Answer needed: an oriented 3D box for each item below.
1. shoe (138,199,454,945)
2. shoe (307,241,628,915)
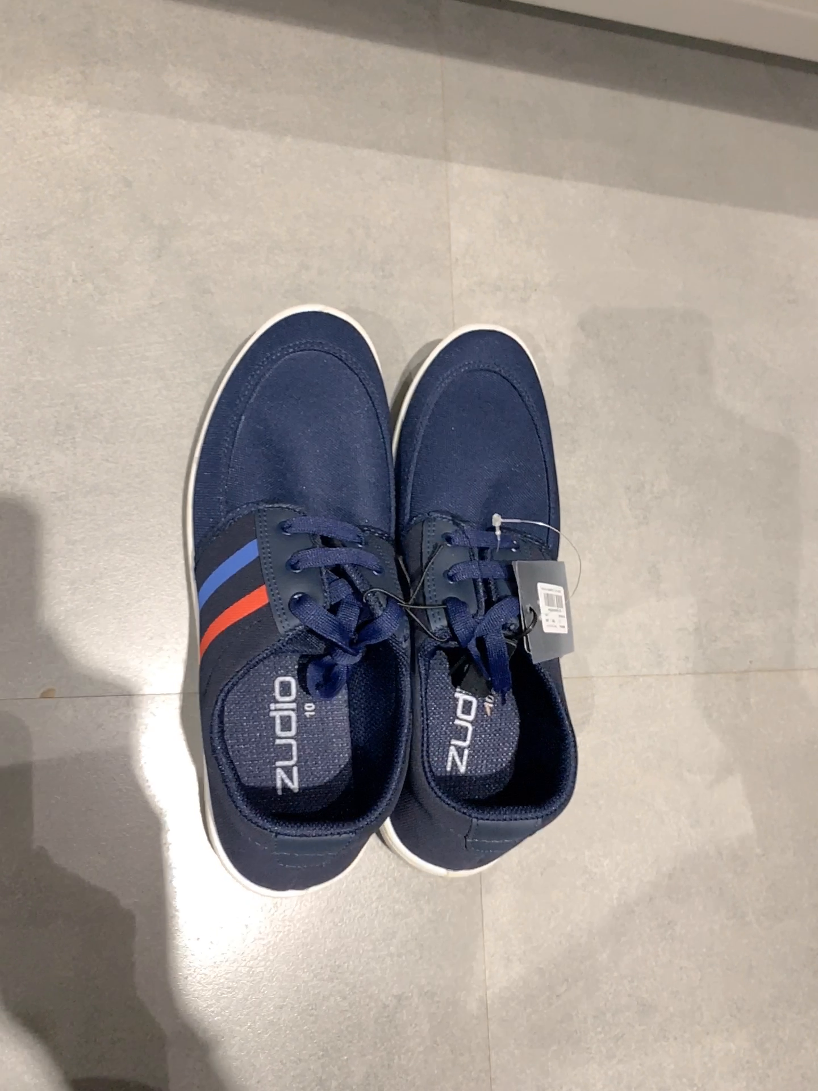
[{"bbox_3d":[-0.055,0.012,0.411,0.120,0.100,0.310,5,79,-18],"label":"shoe"},{"bbox_3d":[0.032,0.018,0.448,0.120,0.100,0.310,9,78,-17],"label":"shoe"}]
